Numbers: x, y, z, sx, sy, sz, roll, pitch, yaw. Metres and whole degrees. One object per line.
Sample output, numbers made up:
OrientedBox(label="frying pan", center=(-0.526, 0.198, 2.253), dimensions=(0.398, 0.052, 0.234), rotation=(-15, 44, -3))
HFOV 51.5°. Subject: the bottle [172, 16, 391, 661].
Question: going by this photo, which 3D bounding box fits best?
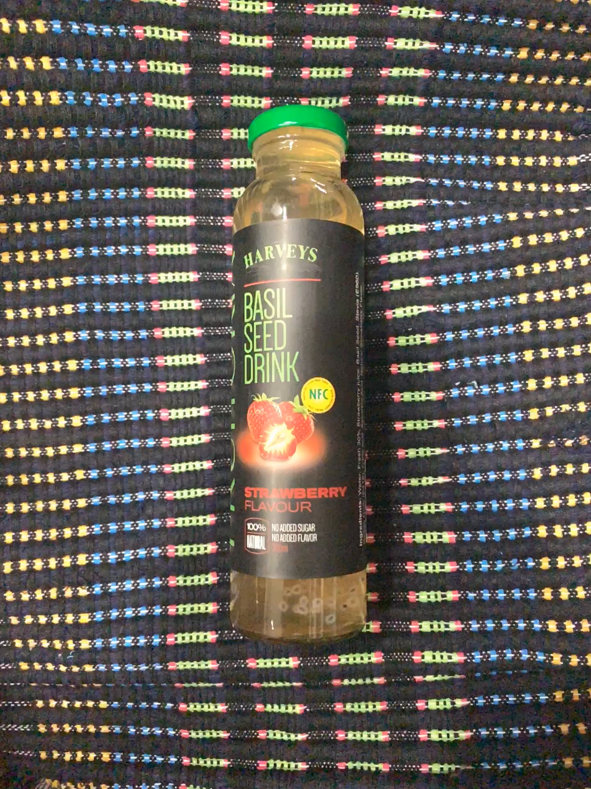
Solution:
OrientedBox(label="bottle", center=(-0.004, -0.020, 0.247), dimensions=(0.060, 0.060, 0.220), rotation=(-4, 82, 35))
